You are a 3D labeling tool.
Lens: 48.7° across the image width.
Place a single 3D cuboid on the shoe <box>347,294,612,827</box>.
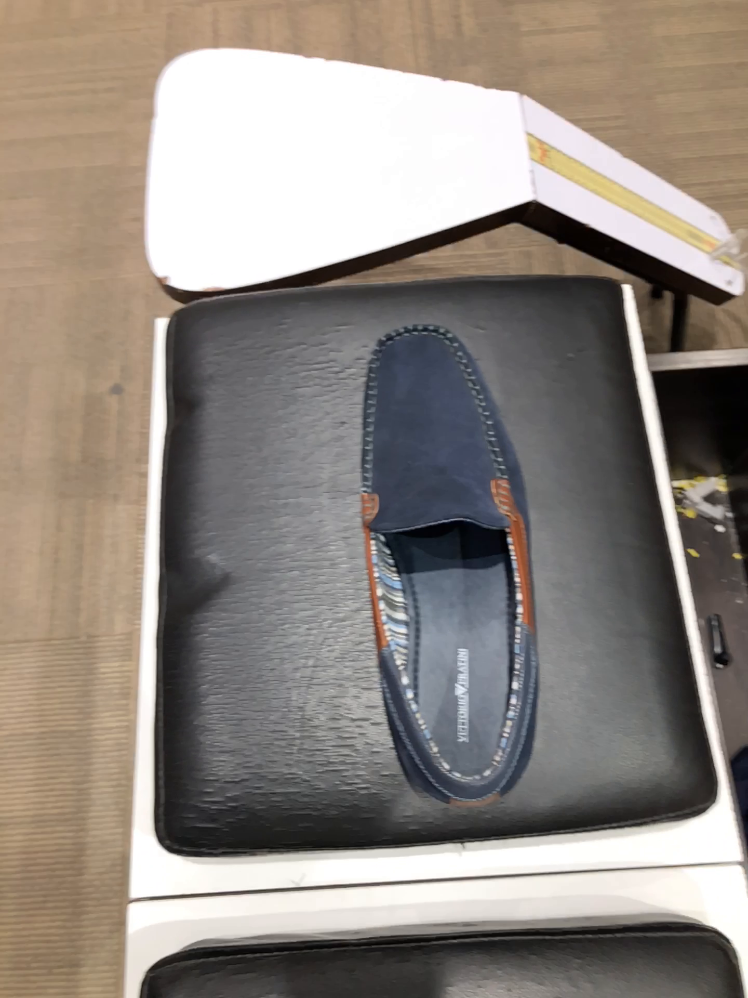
[{"bbox_3d":[0.052,0.035,0.496,0.110,0.100,0.291,-5,70,1],"label":"shoe"}]
